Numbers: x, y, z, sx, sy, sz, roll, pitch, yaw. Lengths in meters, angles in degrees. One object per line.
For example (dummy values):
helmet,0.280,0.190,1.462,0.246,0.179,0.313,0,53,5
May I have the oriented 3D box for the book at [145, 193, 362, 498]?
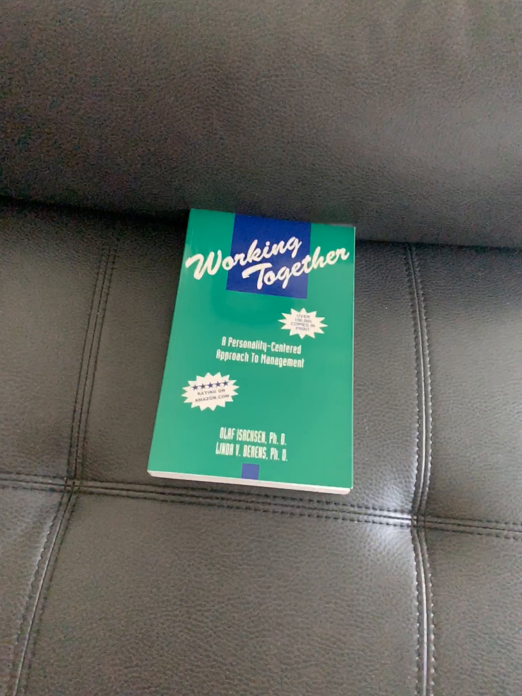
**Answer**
book,0.002,-0.008,0.403,0.137,0.033,0.217,7,67,-4
